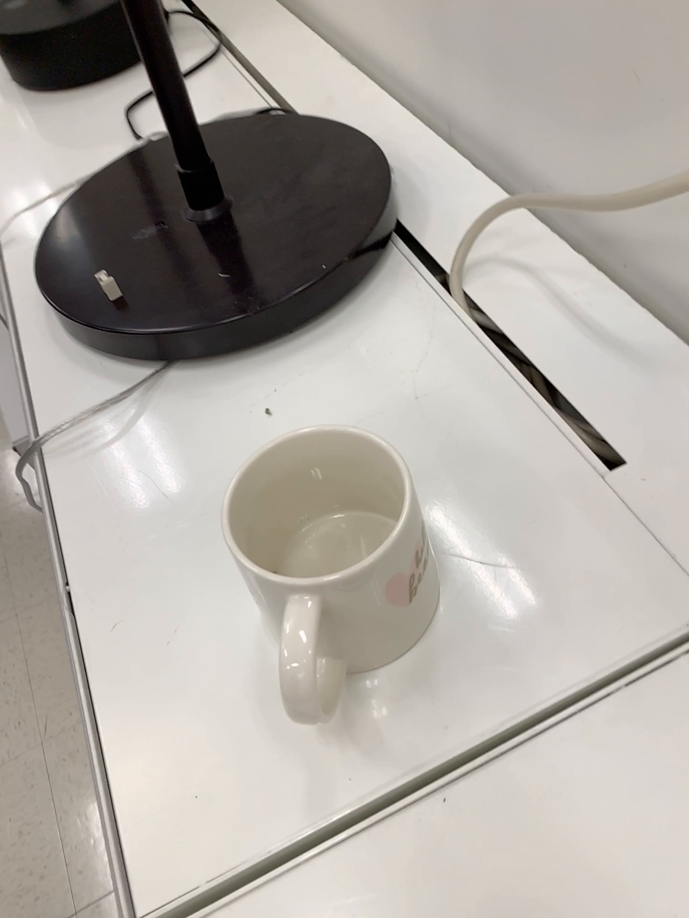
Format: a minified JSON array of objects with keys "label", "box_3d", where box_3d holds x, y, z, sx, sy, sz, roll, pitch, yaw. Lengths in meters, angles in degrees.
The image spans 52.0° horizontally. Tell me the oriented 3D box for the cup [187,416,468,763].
[{"label":"cup","box_3d":[0.004,0.063,0.364,0.104,0.097,0.140,0,51,14]}]
